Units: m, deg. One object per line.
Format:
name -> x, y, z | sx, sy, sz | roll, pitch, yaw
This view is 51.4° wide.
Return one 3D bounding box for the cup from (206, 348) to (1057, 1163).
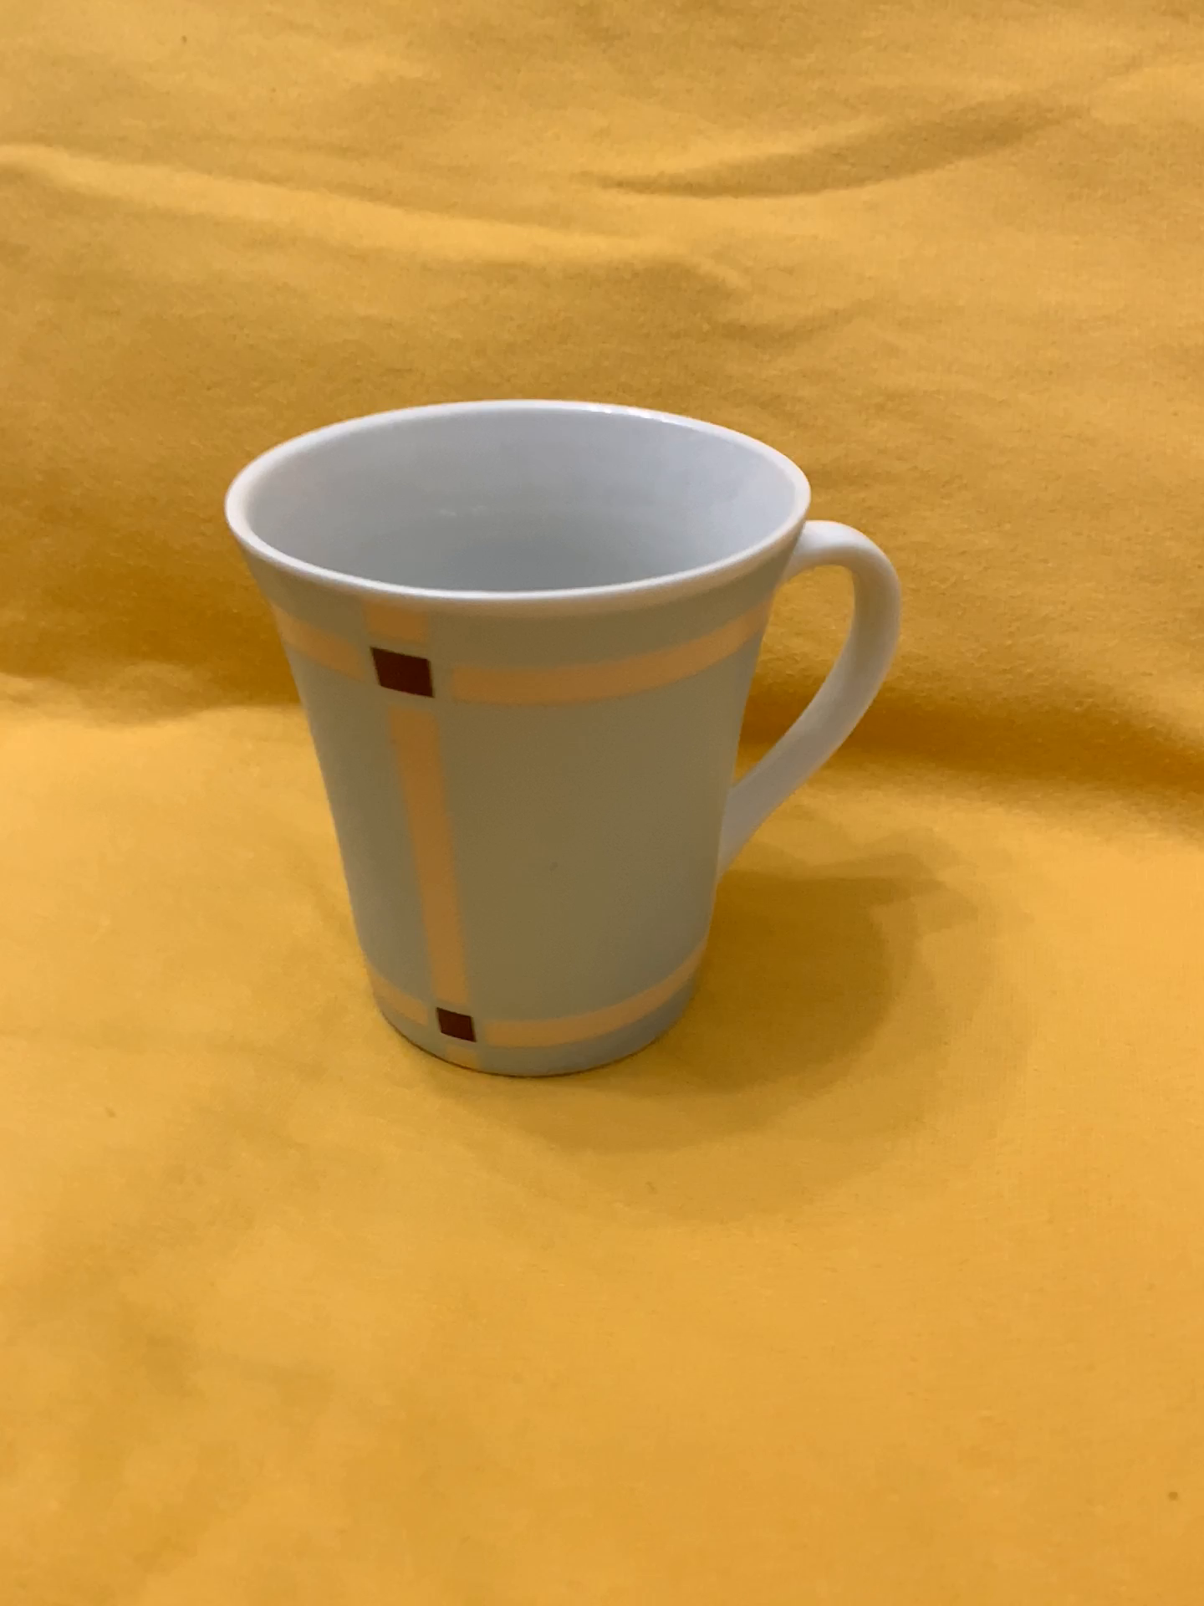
cup -> -0.004, -0.016, 0.239 | 0.120, 0.103, 0.099 | -8, 36, -12
